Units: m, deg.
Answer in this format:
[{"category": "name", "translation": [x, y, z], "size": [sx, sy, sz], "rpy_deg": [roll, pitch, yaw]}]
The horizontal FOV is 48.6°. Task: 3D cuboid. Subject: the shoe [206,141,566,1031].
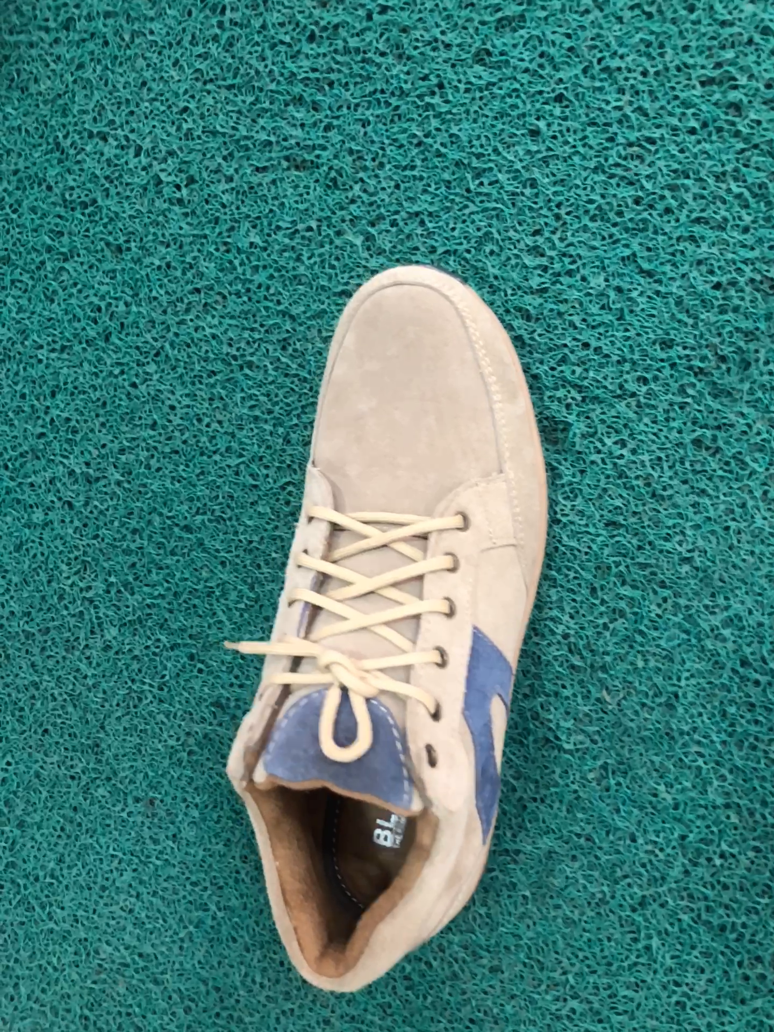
[{"category": "shoe", "translation": [0.007, 0.036, 0.350], "size": [0.100, 0.120, 0.320], "rpy_deg": [4, 94, 16]}]
